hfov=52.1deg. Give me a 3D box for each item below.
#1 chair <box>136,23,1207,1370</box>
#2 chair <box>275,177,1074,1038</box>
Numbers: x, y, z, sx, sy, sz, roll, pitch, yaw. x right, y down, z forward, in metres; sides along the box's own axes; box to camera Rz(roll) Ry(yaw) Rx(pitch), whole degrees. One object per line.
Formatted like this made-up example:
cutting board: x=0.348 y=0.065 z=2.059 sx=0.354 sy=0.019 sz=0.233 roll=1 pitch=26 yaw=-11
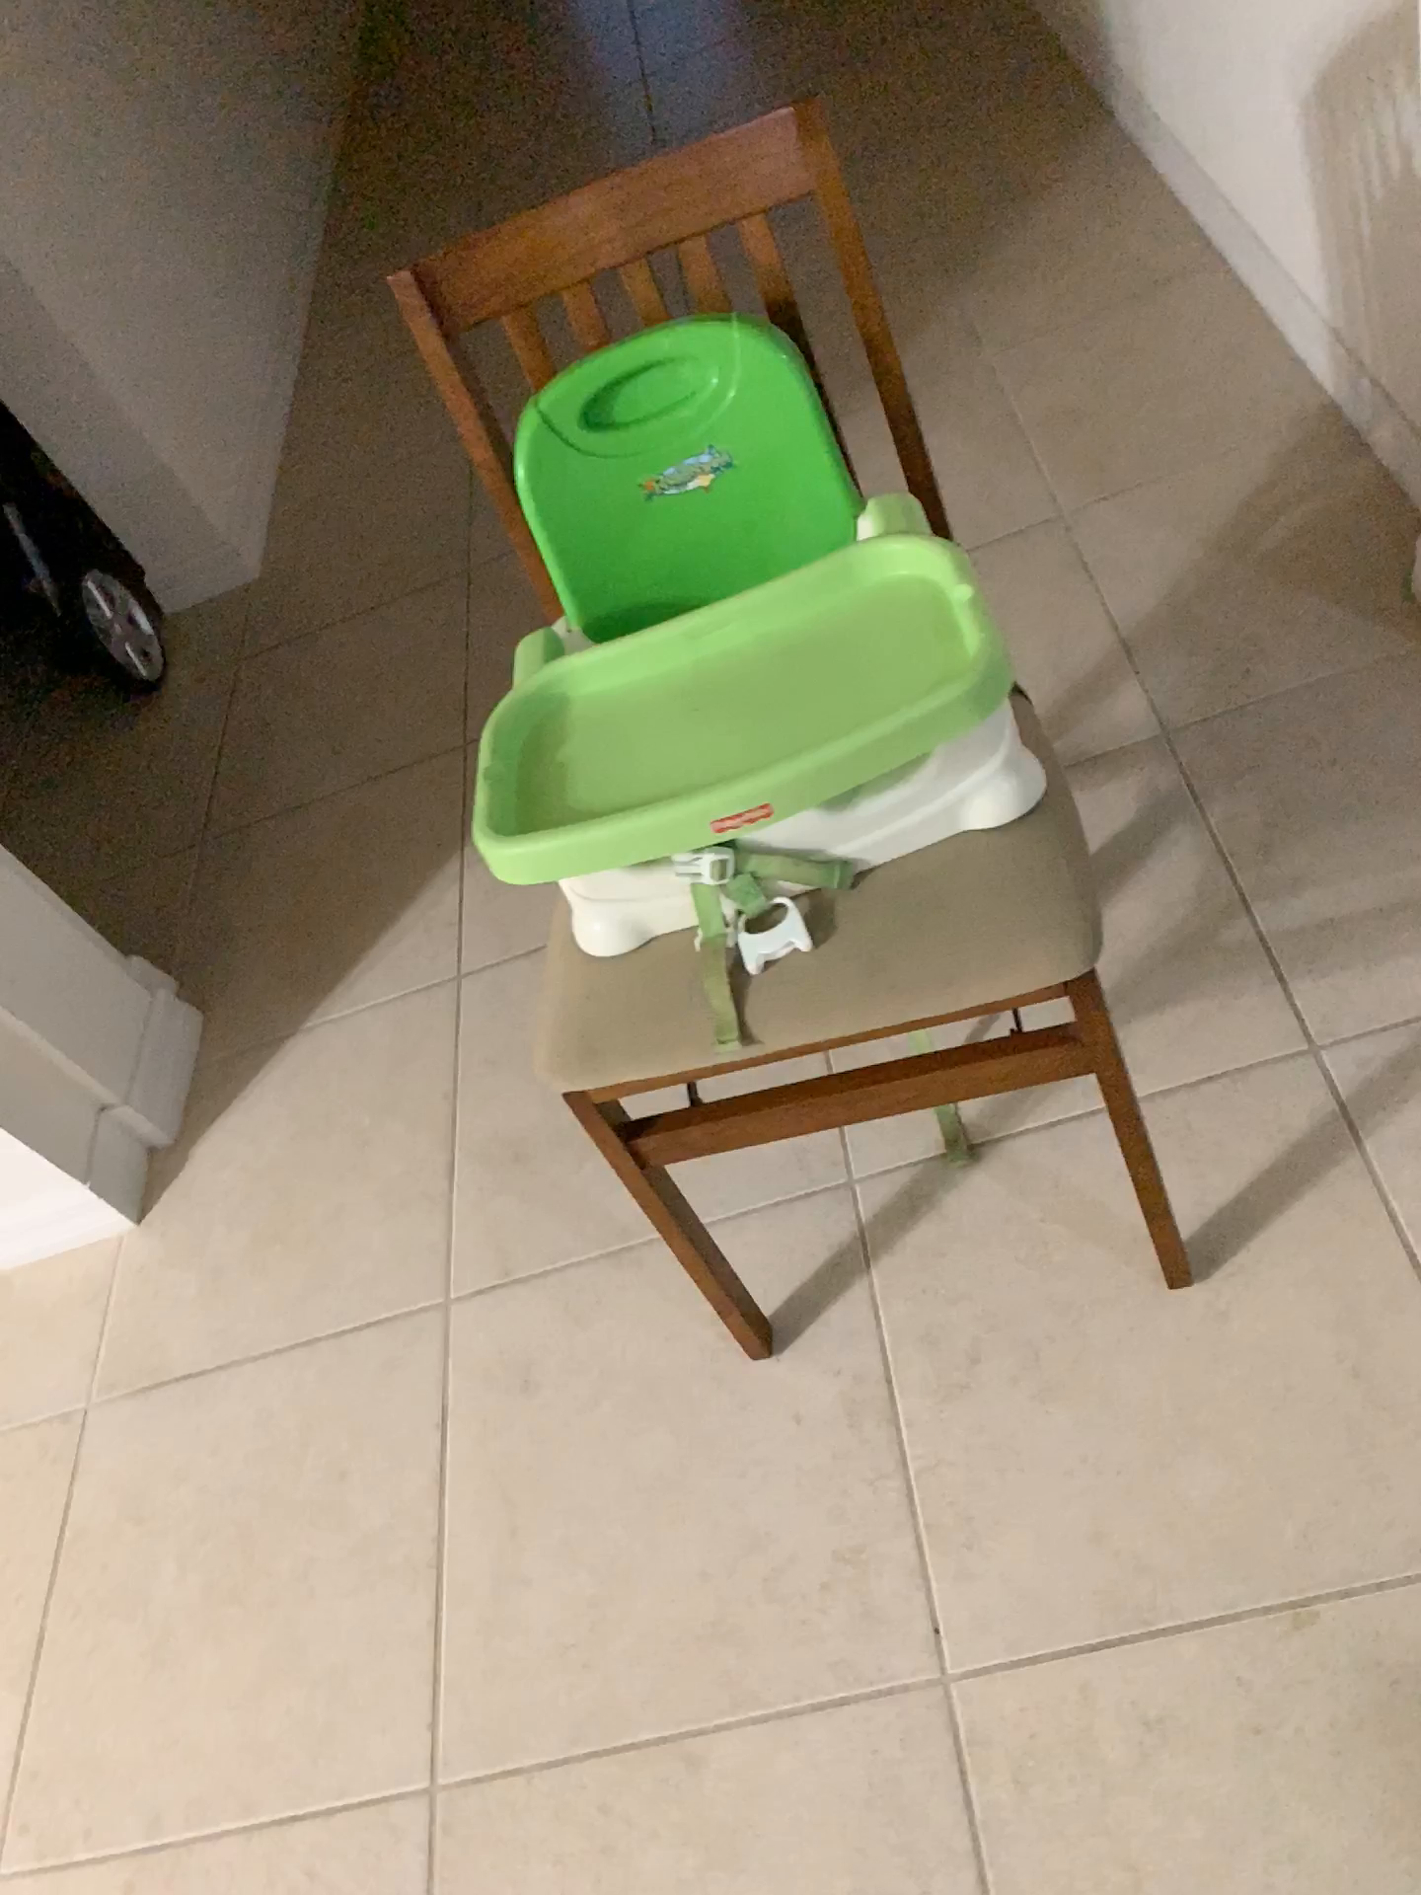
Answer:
chair: x=0.066 y=-0.119 z=1.218 sx=0.454 sy=0.883 sz=0.559 roll=-14 pitch=48 yaw=17
chair: x=-0.014 y=-0.232 z=1.039 sx=0.404 sy=0.328 sz=0.388 roll=-17 pitch=47 yaw=14
